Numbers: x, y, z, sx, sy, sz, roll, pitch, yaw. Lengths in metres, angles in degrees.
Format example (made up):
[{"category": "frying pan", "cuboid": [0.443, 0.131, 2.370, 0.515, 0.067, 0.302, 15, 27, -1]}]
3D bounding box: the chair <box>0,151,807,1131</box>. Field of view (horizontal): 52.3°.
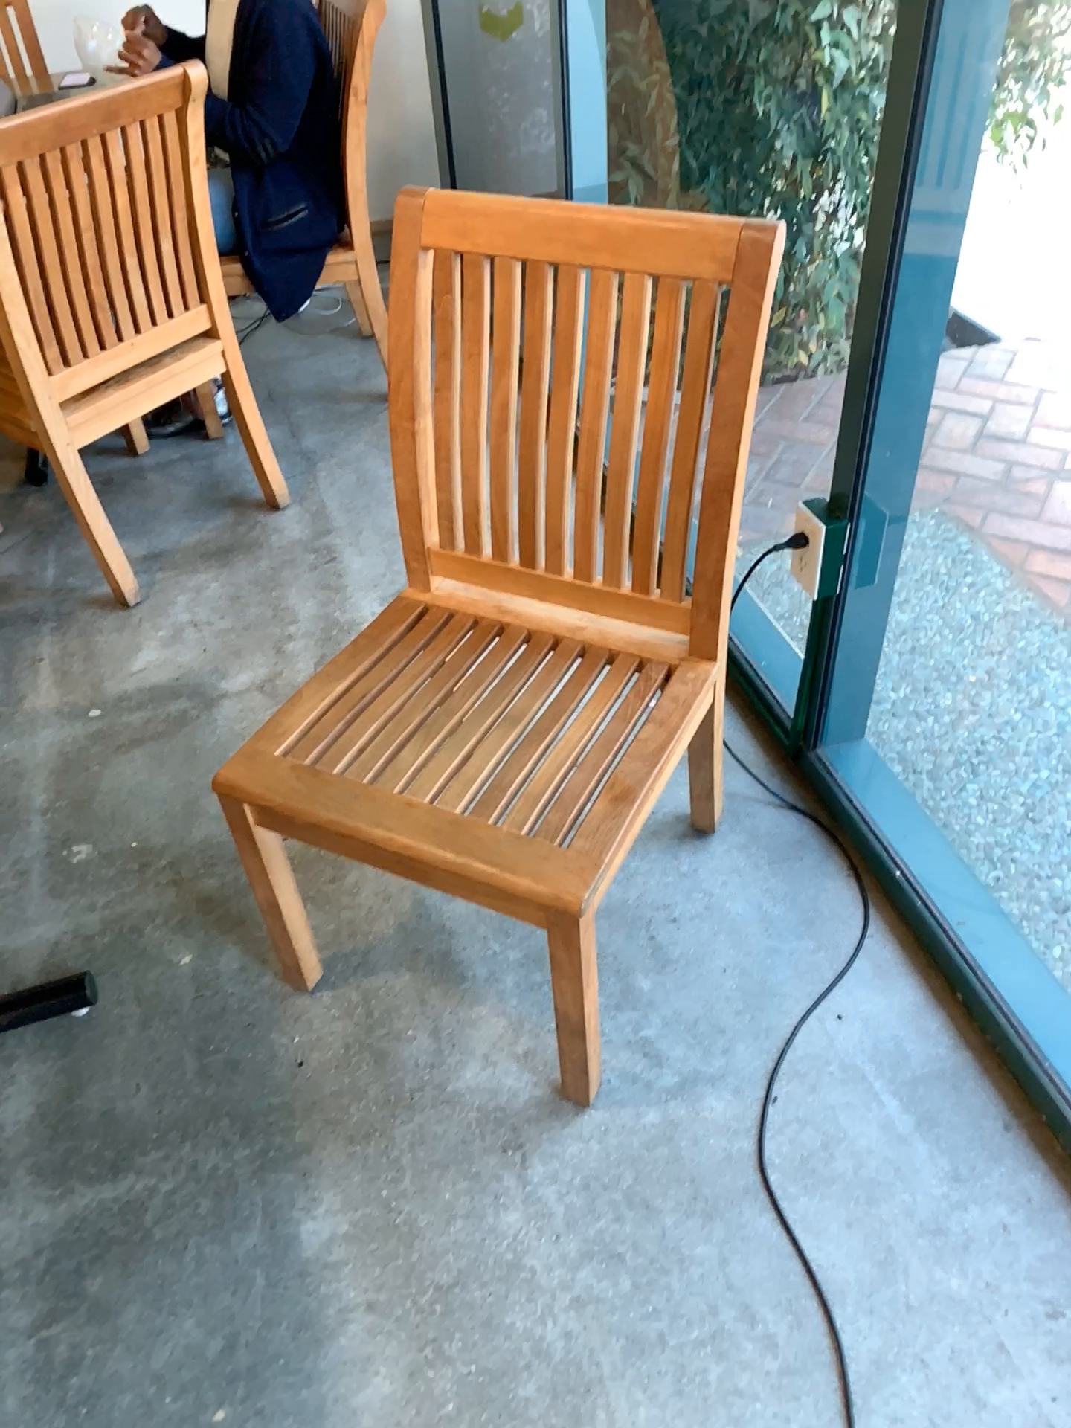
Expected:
[{"category": "chair", "cuboid": [-0.067, -0.085, 1.335, 0.531, 0.915, 0.612, 16, 46, 21]}]
